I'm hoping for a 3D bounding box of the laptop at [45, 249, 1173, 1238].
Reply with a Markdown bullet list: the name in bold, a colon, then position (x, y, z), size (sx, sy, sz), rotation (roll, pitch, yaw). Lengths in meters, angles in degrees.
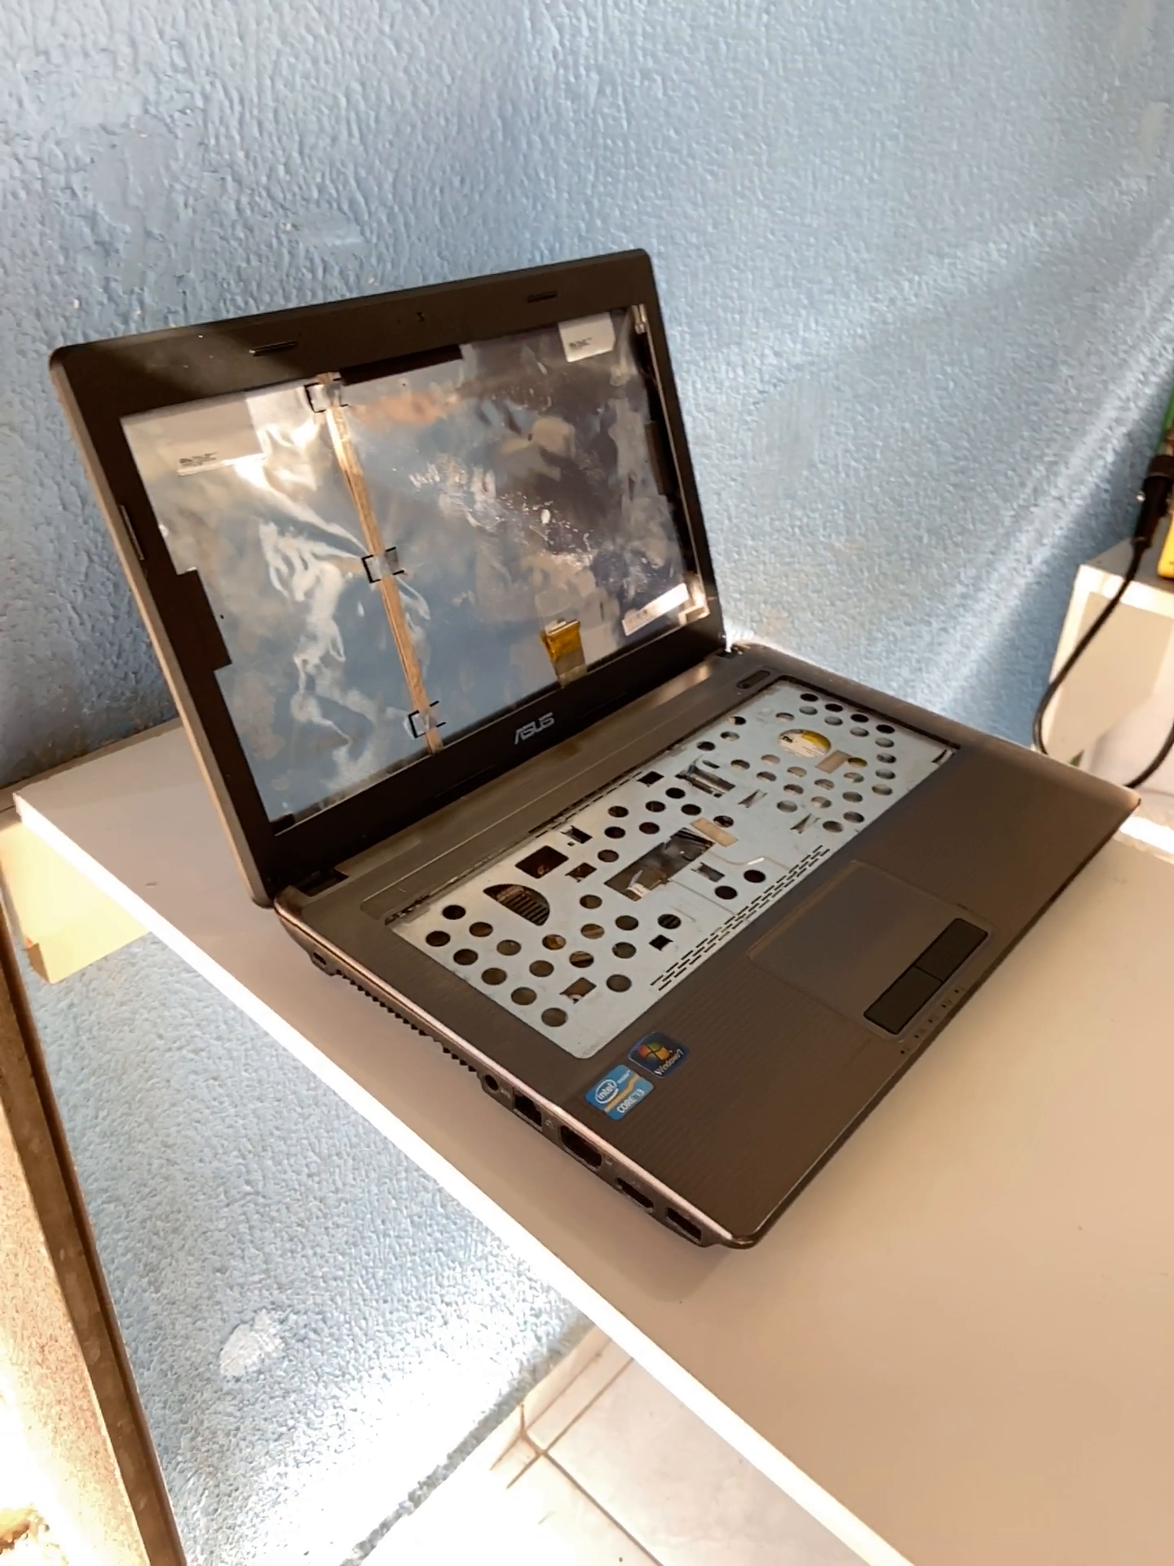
- **laptop**: position (0.037, -0.075, 0.510), size (0.327, 0.202, 0.337), rotation (27, 40, 32)
